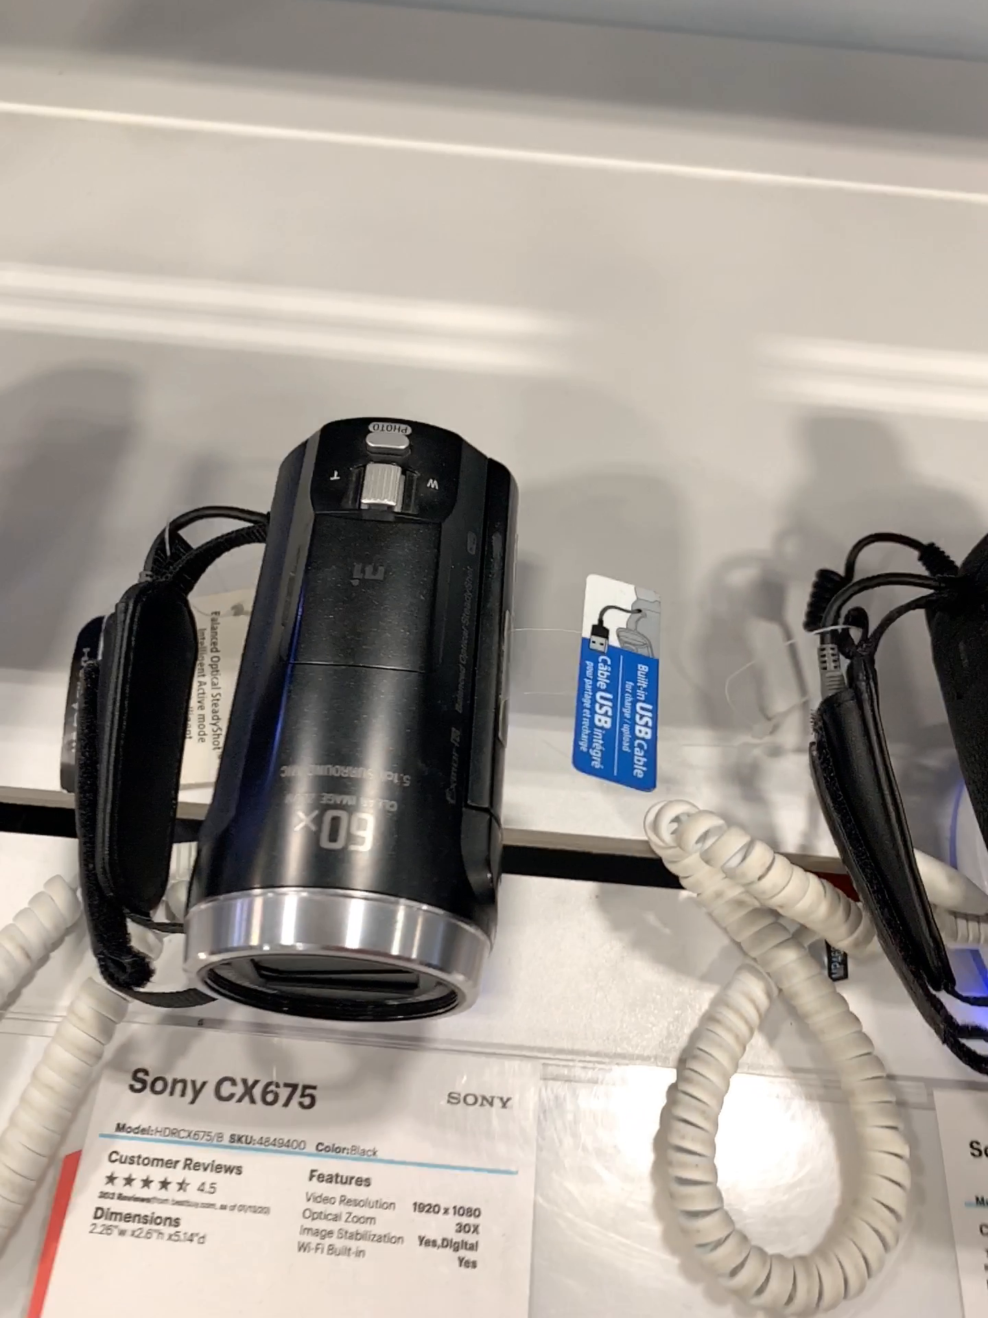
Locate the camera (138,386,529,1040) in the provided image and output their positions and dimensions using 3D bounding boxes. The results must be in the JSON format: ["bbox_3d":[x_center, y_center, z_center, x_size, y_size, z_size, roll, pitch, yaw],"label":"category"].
[{"bbox_3d":[-0.025,0.010,0.208,0.053,0.060,0.113,5,59,-2],"label":"camera"}]
